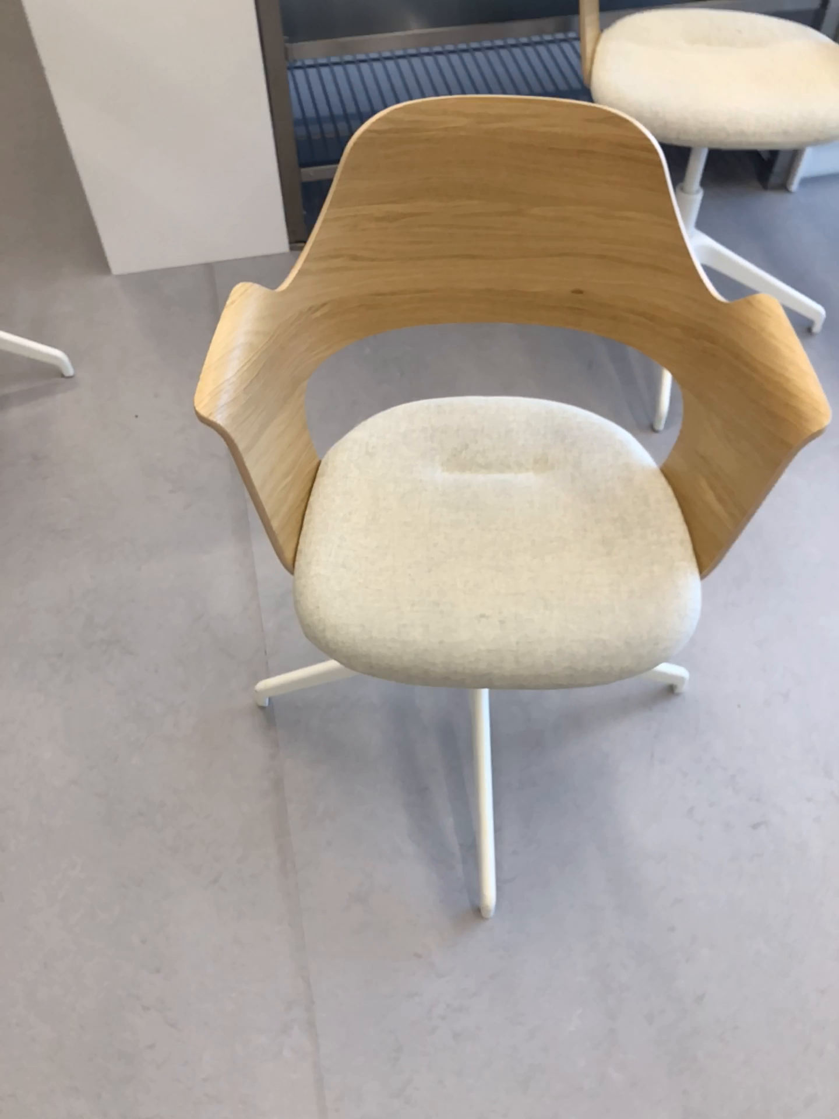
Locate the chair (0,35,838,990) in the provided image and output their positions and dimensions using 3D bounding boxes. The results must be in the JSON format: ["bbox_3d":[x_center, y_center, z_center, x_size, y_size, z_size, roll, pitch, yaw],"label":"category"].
[{"bbox_3d":[0.084,-0.008,1.060,0.710,0.776,0.663,9,55,6],"label":"chair"}]
